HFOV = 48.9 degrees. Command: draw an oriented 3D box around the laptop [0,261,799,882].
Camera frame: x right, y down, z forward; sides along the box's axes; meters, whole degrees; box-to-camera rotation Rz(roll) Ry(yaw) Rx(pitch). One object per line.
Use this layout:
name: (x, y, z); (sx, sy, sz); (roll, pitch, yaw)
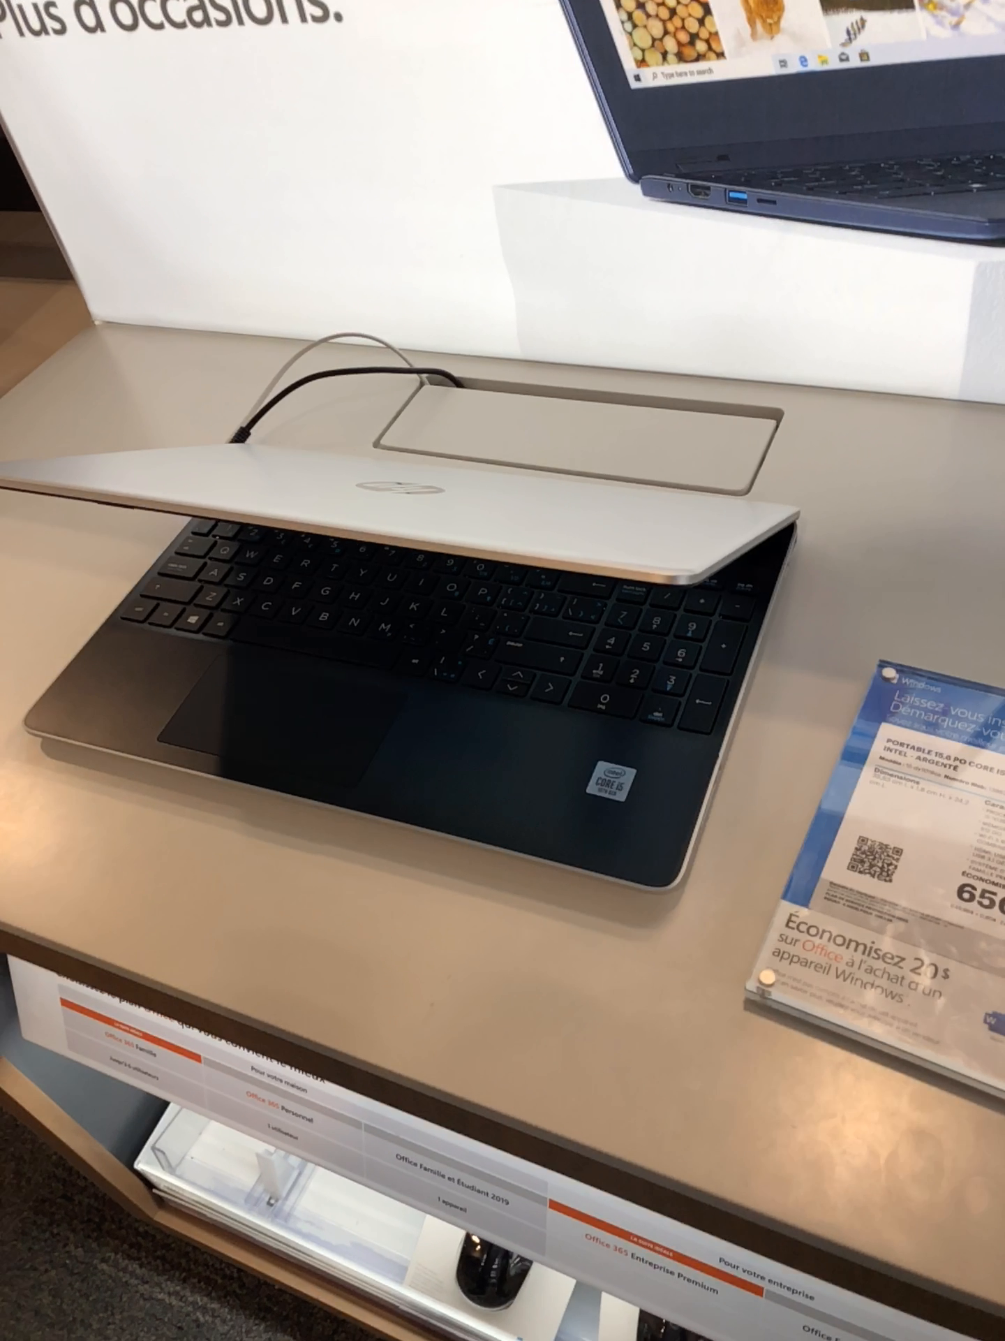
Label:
laptop: (-0.058, -0.073, 0.532); (0.346, 0.131, 0.230); (11, 50, 23)
